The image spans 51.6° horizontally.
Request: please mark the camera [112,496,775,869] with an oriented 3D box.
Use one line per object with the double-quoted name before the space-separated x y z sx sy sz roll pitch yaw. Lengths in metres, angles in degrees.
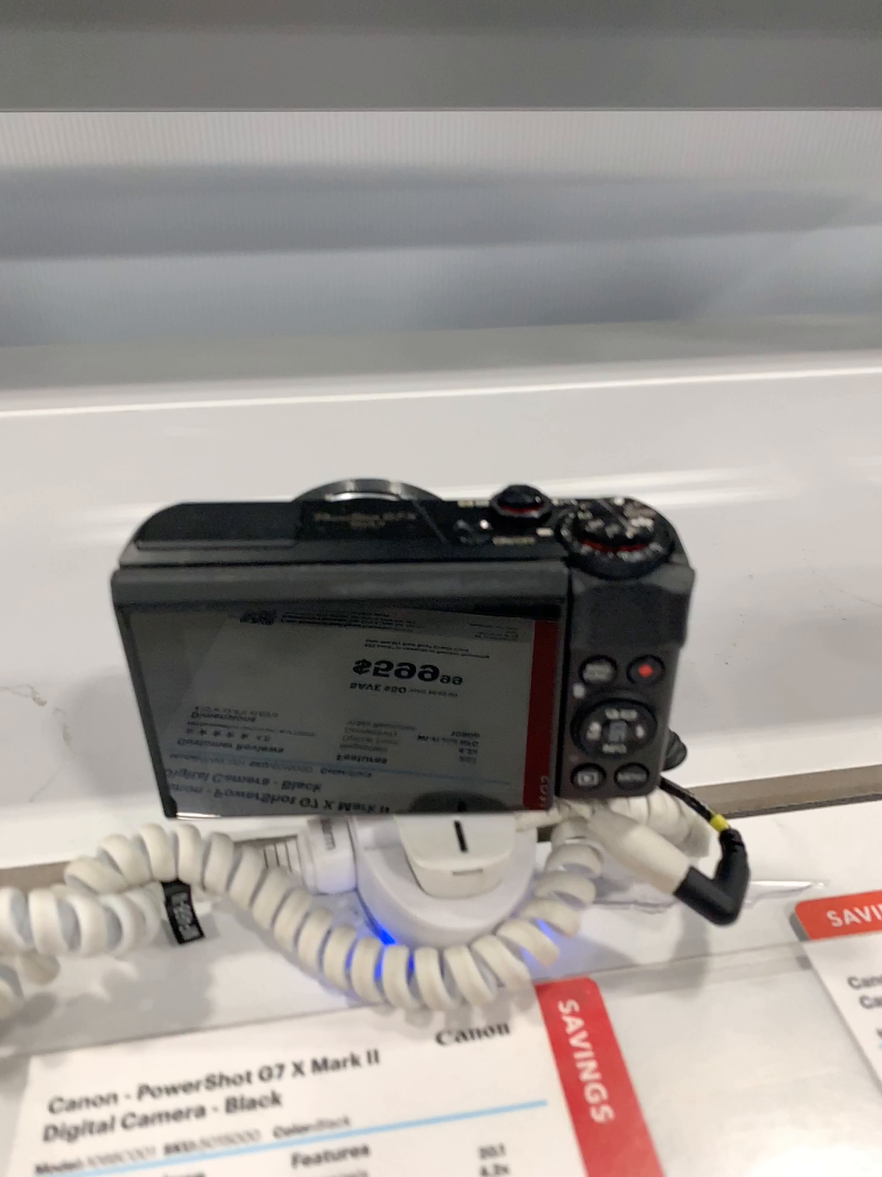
"camera" 0.000 0.018 0.185 0.110 0.060 0.044 0 33 -3
